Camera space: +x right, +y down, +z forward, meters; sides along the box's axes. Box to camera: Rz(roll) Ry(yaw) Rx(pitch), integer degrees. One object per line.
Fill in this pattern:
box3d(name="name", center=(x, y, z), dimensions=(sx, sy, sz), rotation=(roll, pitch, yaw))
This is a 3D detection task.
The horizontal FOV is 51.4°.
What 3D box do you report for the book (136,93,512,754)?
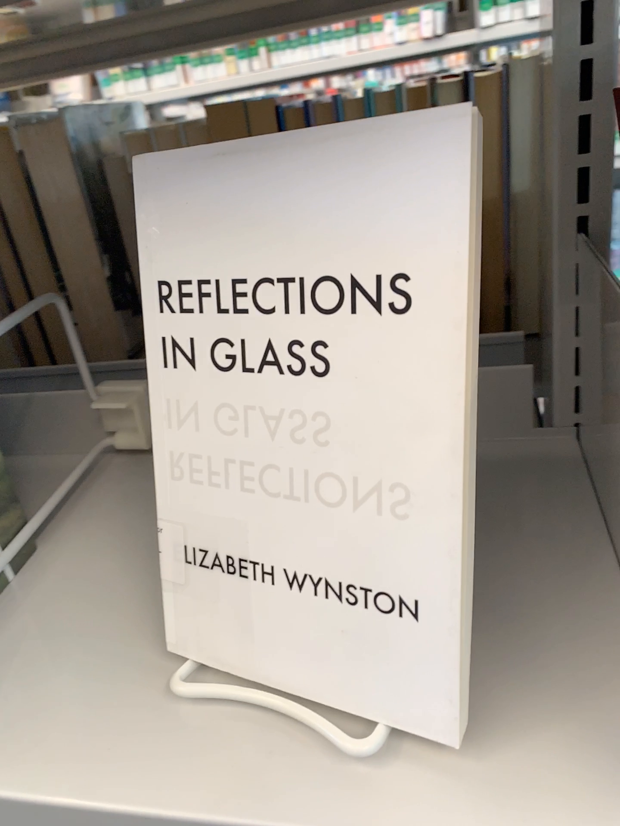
box3d(name="book", center=(0.000, 0.006, 0.225), dimensions=(0.128, 0.196, 0.018), rotation=(5, 12, 29))
